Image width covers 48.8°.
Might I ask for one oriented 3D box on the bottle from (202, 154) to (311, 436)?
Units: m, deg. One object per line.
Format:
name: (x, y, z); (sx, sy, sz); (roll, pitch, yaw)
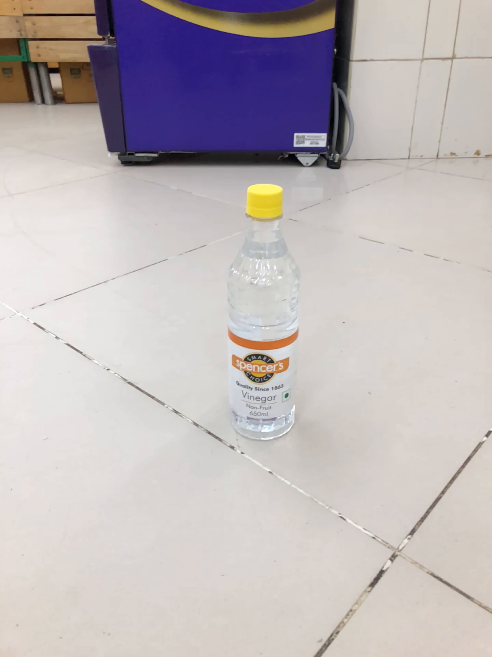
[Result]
bottle: (0.012, -0.026, 0.489); (0.080, 0.238, 0.081); (0, 28, 0)
